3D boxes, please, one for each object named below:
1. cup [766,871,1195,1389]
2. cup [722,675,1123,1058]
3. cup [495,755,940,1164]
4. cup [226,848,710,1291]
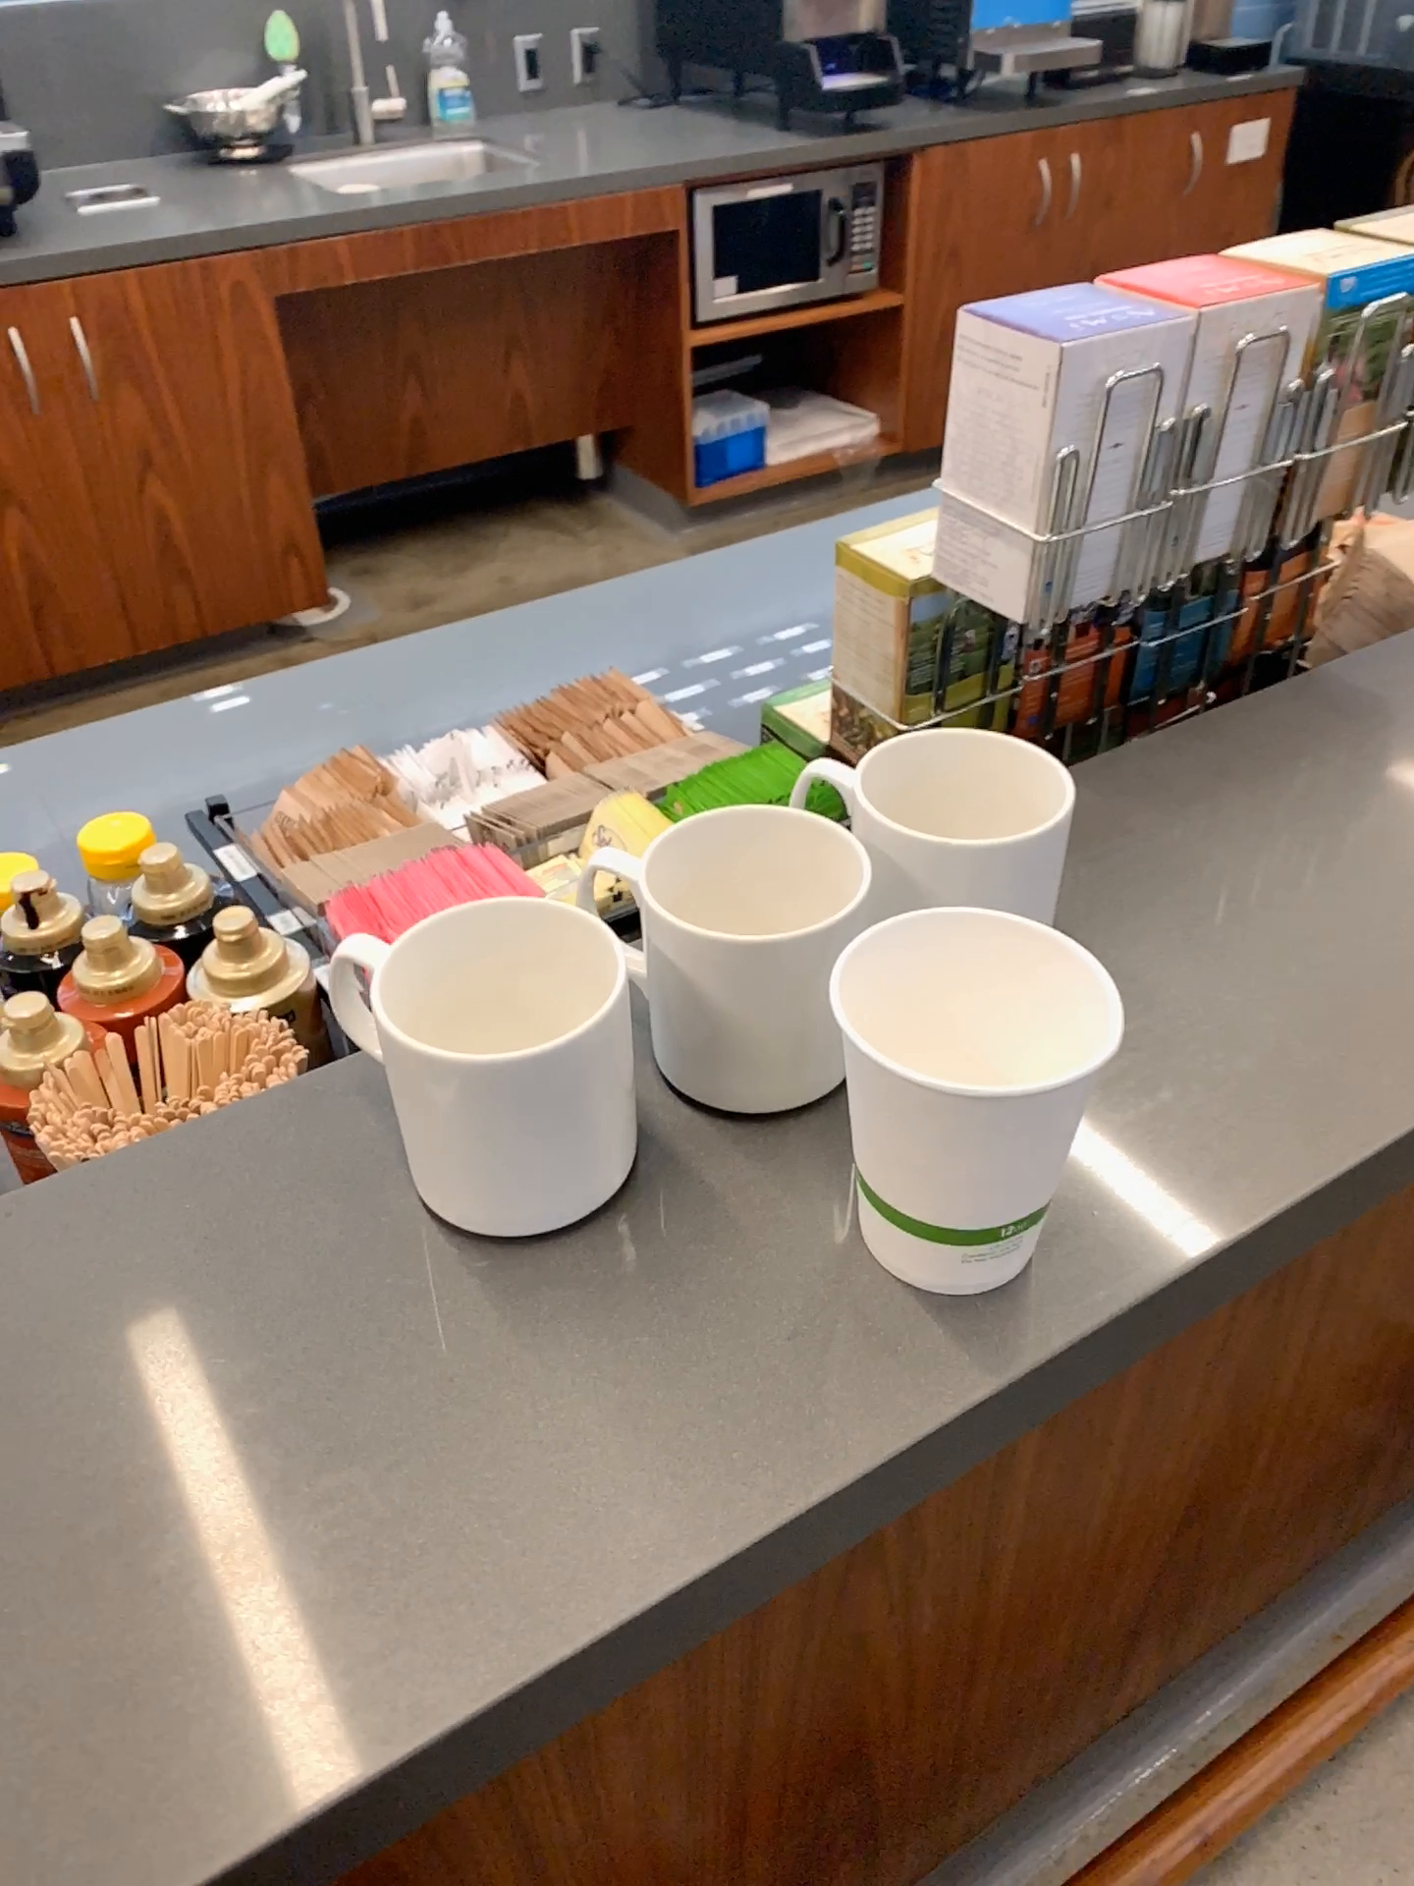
[{"bbox_3d":[0.082,0.058,0.470,0.090,0.109,0.090,-1,38,1],"label":"cup"},{"bbox_3d":[0.089,-0.037,0.611,0.130,0.089,0.100,20,43,25],"label":"cup"},{"bbox_3d":[0.006,0.001,0.553,0.130,0.080,0.100,18,42,23],"label":"cup"},{"bbox_3d":[-0.078,0.039,0.506,0.130,0.080,0.090,17,42,22],"label":"cup"}]
